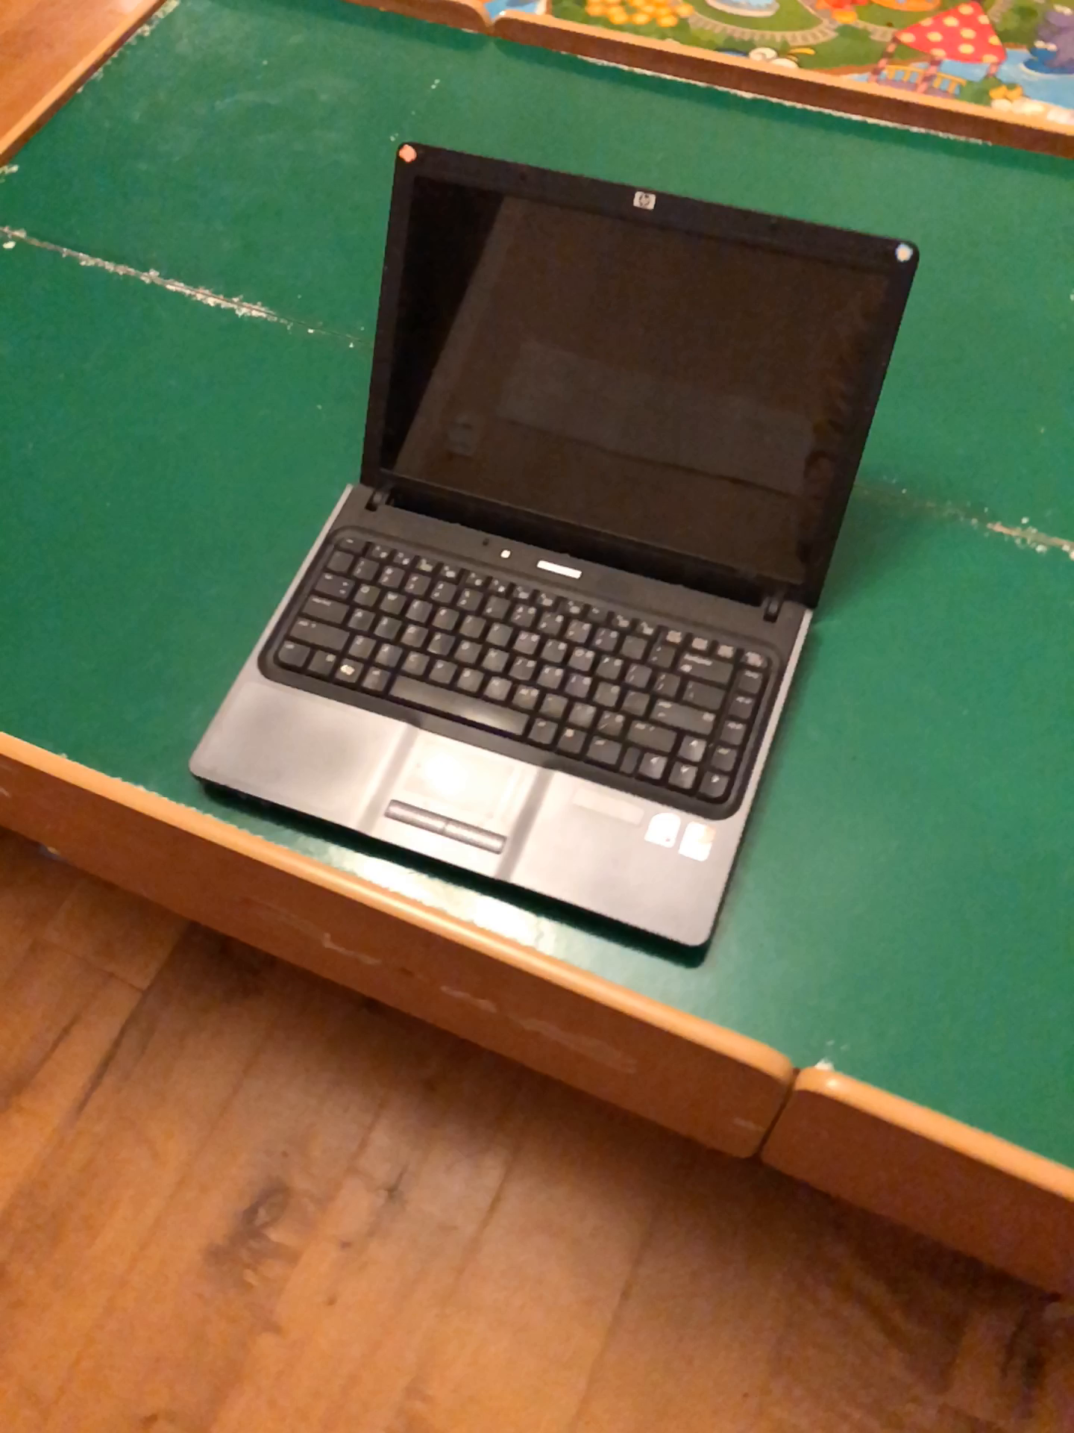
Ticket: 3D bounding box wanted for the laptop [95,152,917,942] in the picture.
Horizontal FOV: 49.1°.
[{"bbox_3d":[0.005,-0.116,0.703,0.323,0.172,0.375,17,63,13],"label":"laptop"}]
